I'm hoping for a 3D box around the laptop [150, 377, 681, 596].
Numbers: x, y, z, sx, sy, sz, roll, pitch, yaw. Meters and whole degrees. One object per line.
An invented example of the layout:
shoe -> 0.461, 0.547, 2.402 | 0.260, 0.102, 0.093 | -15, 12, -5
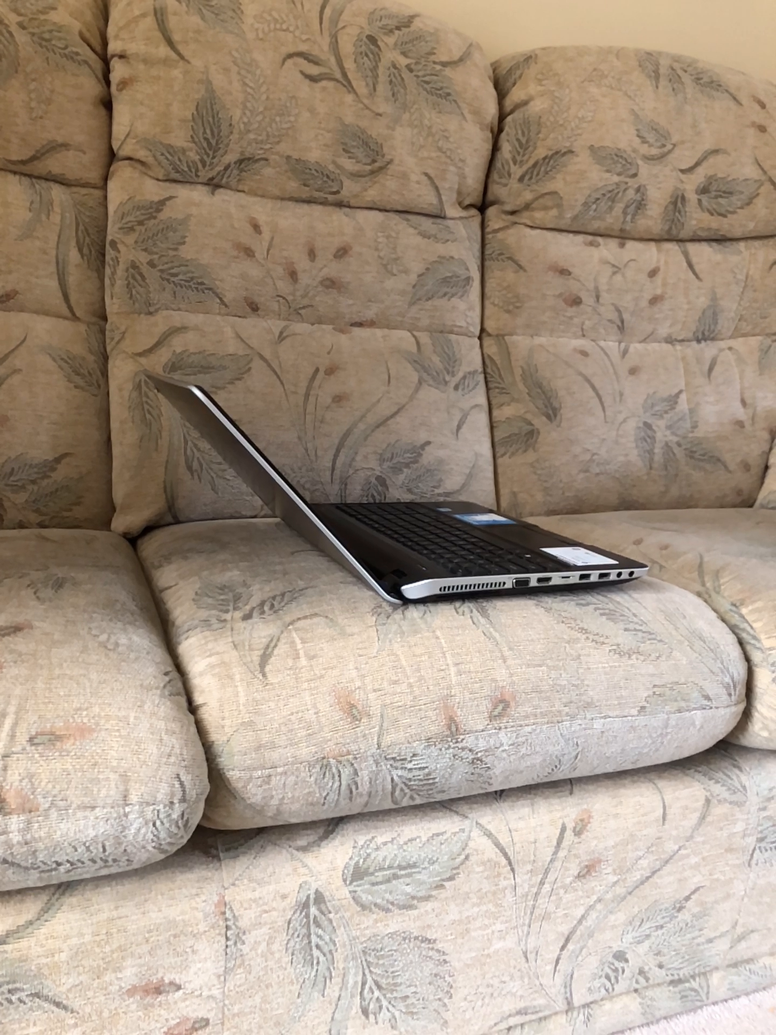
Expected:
laptop -> -0.010, -0.055, 0.859 | 0.410, 0.151, 0.397 | -2, 11, -22
